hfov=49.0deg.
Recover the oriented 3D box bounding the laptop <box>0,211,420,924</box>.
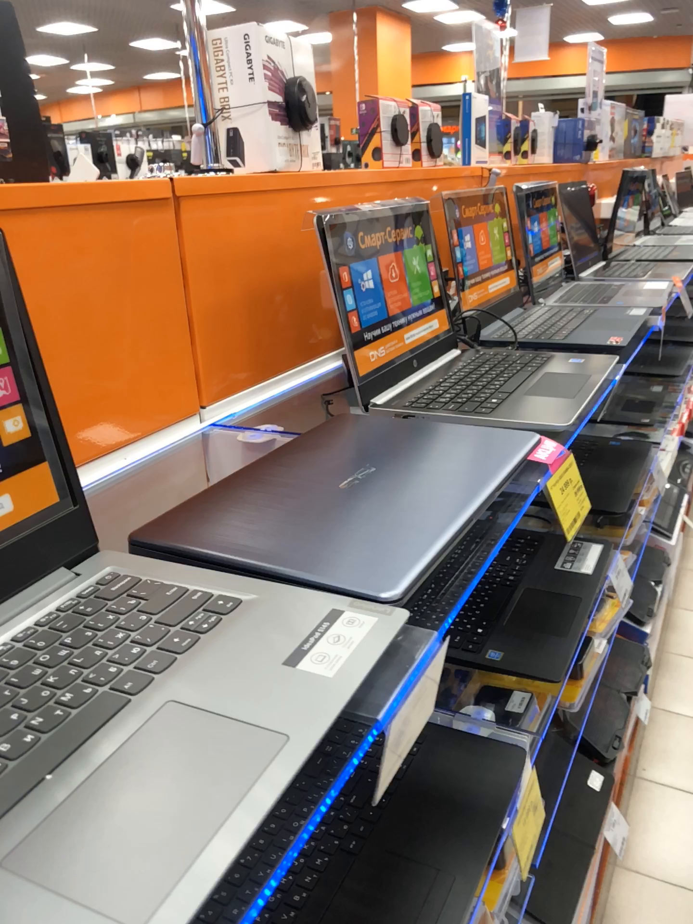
[{"bbox_3d":[-0.172,0.026,0.319,0.289,0.225,0.354,7,22,25],"label":"laptop"}]

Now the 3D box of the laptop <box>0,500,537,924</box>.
[{"bbox_3d":[-0.046,0.230,0.641,0.312,0.227,0.378,7,23,26],"label":"laptop"}]

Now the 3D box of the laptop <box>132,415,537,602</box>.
[{"bbox_3d":[0.012,0.017,0.642,0.213,0.001,0.325,8,23,27],"label":"laptop"}]

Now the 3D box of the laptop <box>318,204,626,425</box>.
[{"bbox_3d":[0.170,-0.201,0.934,0.271,0.205,0.337,7,21,25],"label":"laptop"}]
